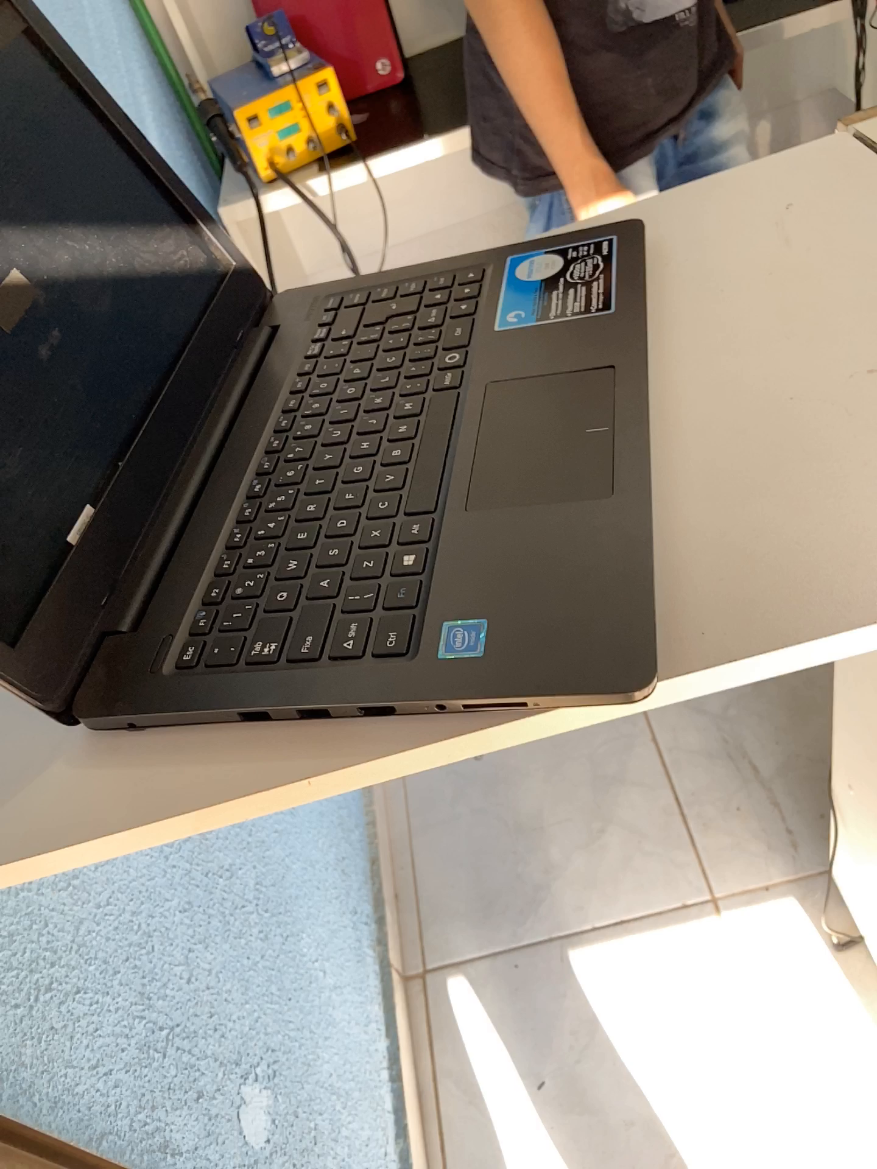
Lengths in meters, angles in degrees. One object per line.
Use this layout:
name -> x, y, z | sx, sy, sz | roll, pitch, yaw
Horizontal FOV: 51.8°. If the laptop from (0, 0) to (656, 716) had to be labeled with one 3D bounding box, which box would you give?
laptop -> -0.084, -0.150, 0.391 | 0.309, 0.214, 0.339 | -5, 46, 17
